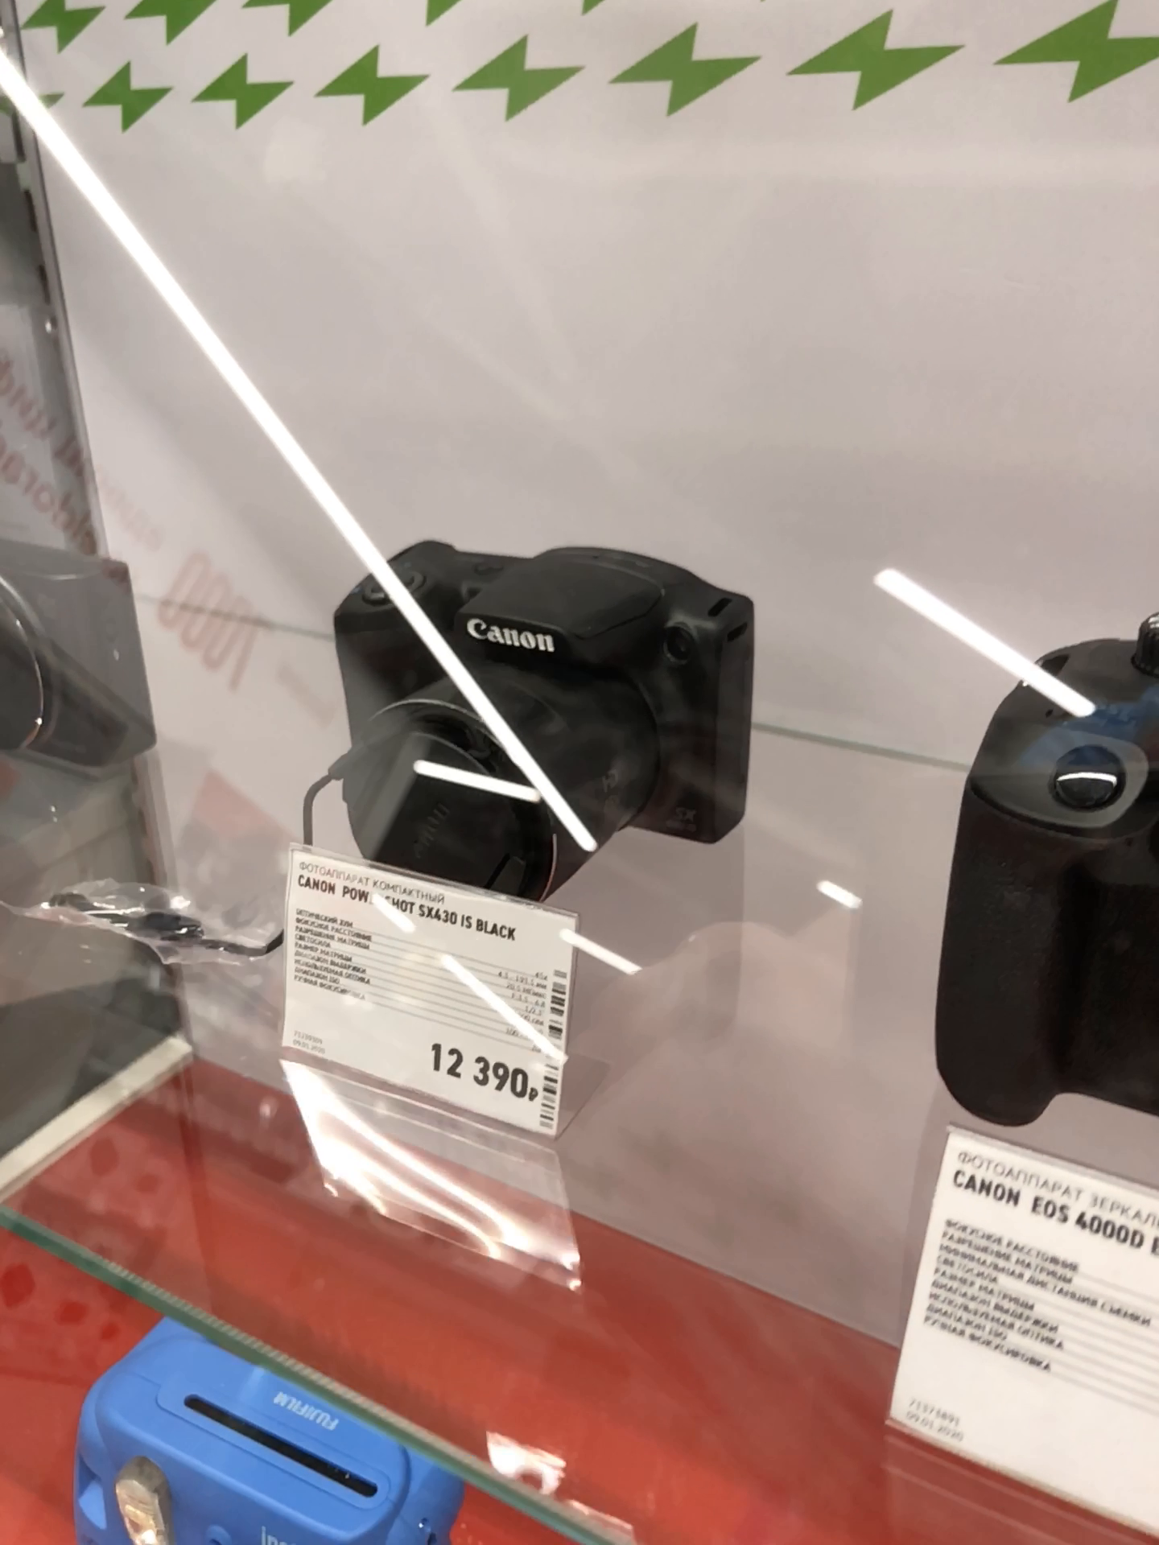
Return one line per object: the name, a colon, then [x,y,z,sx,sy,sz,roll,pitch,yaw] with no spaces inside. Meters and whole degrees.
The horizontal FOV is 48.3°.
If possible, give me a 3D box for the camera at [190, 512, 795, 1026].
camera: [-0.018,-0.009,0.319,0.113,0.080,0.086,13,28,28]
